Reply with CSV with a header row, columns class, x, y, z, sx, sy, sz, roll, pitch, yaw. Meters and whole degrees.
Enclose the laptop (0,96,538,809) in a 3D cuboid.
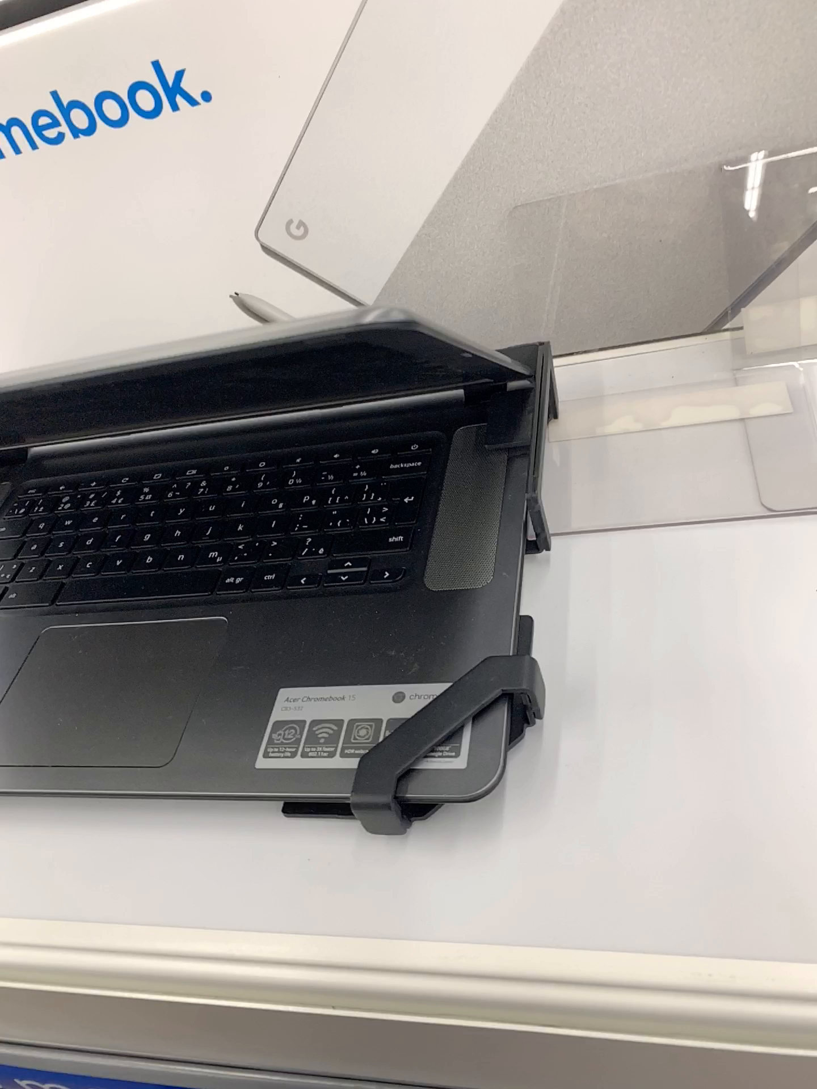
class,x,y,z,sx,sy,sz,roll,pitch,yaw
laptop,-0.121,-0.029,0.303,0.303,0.119,0.198,-5,44,19
